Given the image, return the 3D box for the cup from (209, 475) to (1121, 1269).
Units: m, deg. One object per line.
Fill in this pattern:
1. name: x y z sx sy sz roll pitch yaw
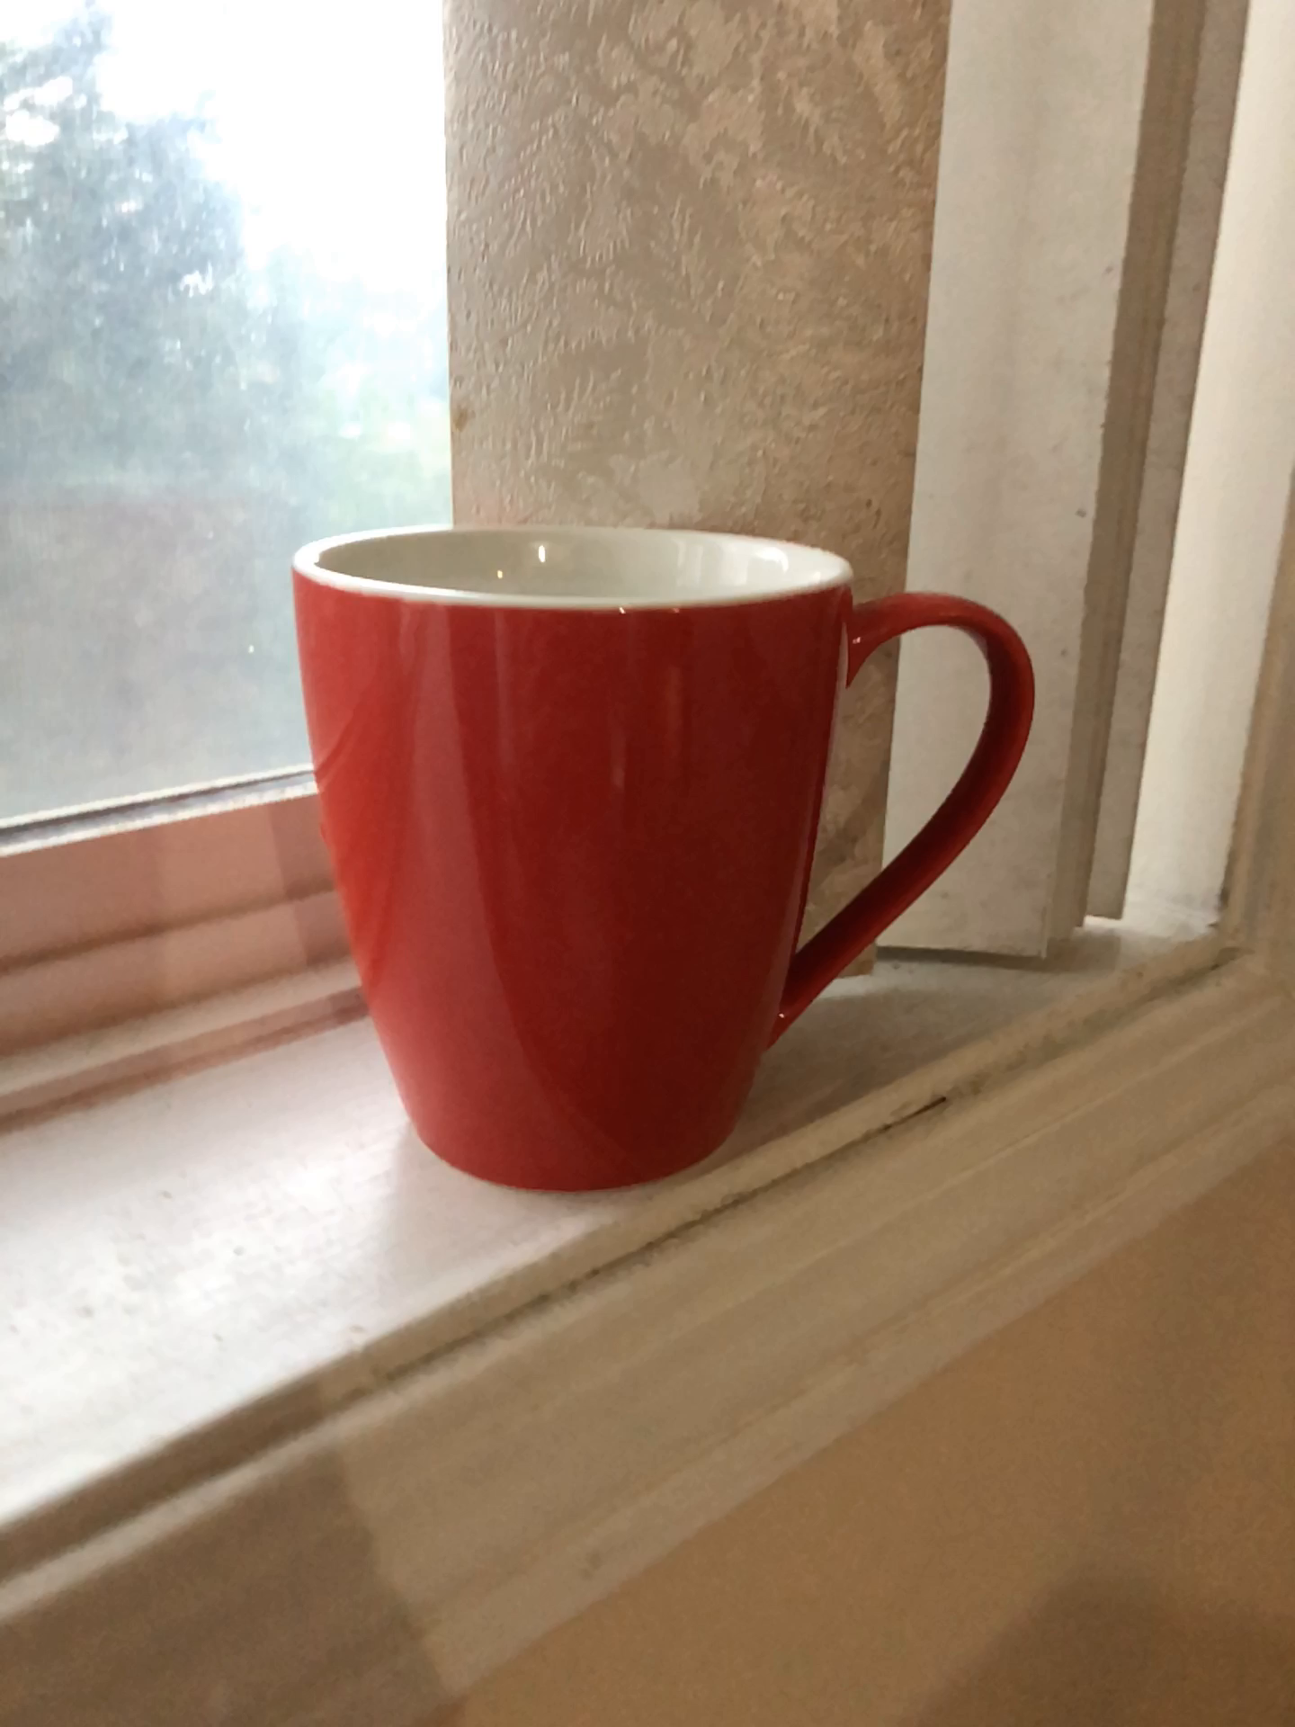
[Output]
1. cup: 0.001 -0.011 0.230 0.110 0.090 0.080 -10 22 -31
